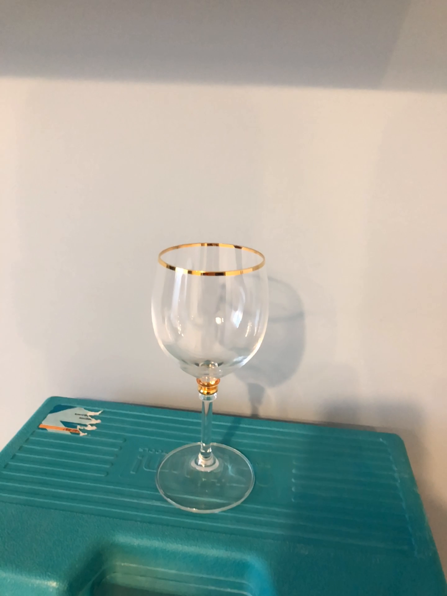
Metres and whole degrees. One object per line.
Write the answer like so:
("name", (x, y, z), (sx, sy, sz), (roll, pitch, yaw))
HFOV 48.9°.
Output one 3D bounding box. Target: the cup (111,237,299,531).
("cup", (-0.007, 0.051, 0.339), (0.100, 0.159, 0.101), (2, 20, -1))
